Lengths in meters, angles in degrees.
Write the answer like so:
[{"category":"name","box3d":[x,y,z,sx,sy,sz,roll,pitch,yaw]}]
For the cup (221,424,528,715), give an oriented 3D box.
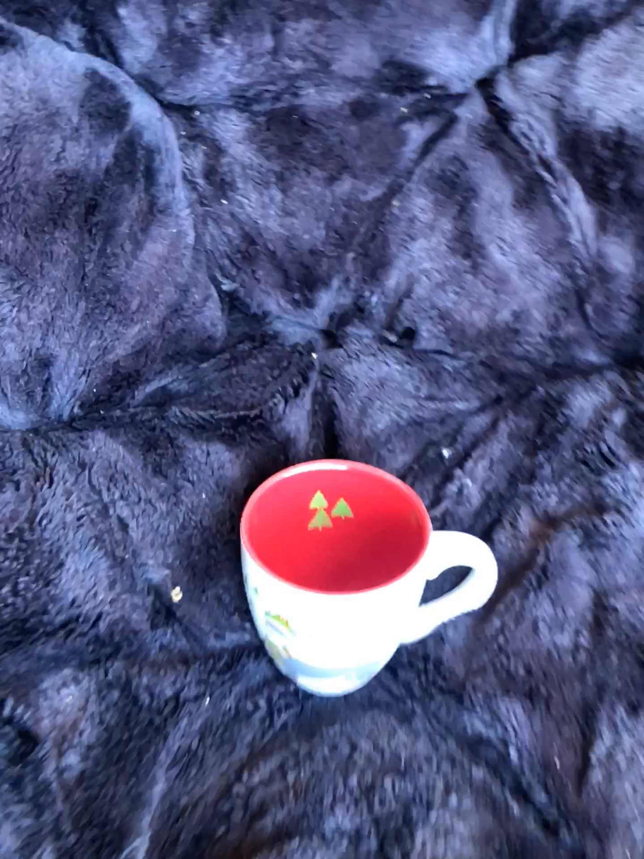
[{"category":"cup","box3d":[0.020,0.077,0.401,0.140,0.110,0.100,-4,42,-7]}]
